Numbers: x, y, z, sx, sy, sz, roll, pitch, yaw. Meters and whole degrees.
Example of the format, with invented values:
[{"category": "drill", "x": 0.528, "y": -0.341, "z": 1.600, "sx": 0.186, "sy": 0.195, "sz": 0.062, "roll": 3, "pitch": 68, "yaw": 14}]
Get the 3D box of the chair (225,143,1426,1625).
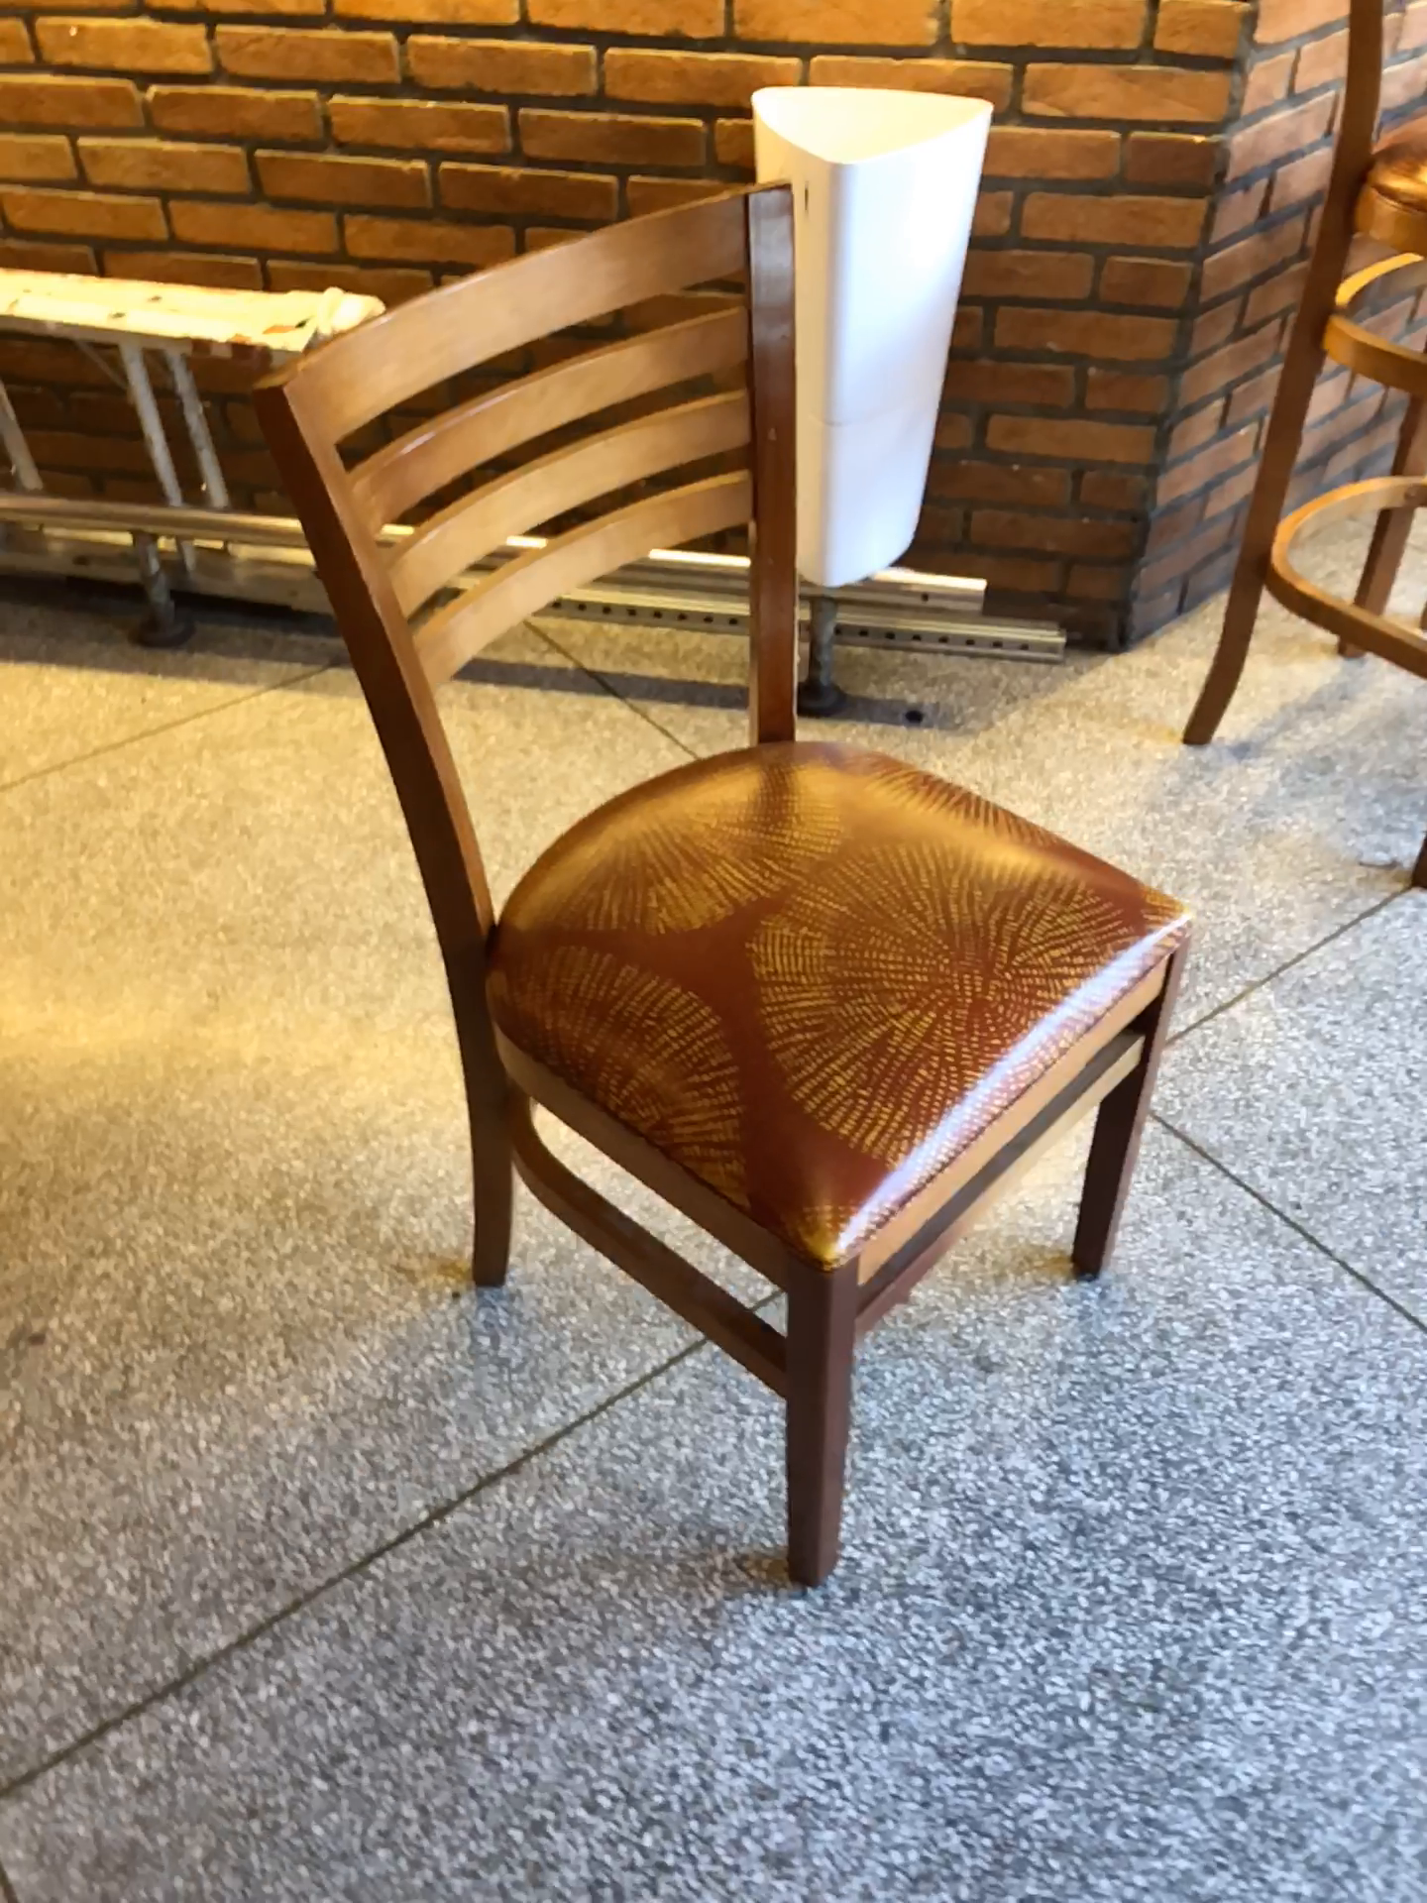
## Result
[{"category": "chair", "x": 0.070, "y": -0.024, "z": 1.129, "sx": 0.471, "sy": 0.844, "sz": 0.452, "roll": 31, "pitch": 52, "yaw": 29}]
